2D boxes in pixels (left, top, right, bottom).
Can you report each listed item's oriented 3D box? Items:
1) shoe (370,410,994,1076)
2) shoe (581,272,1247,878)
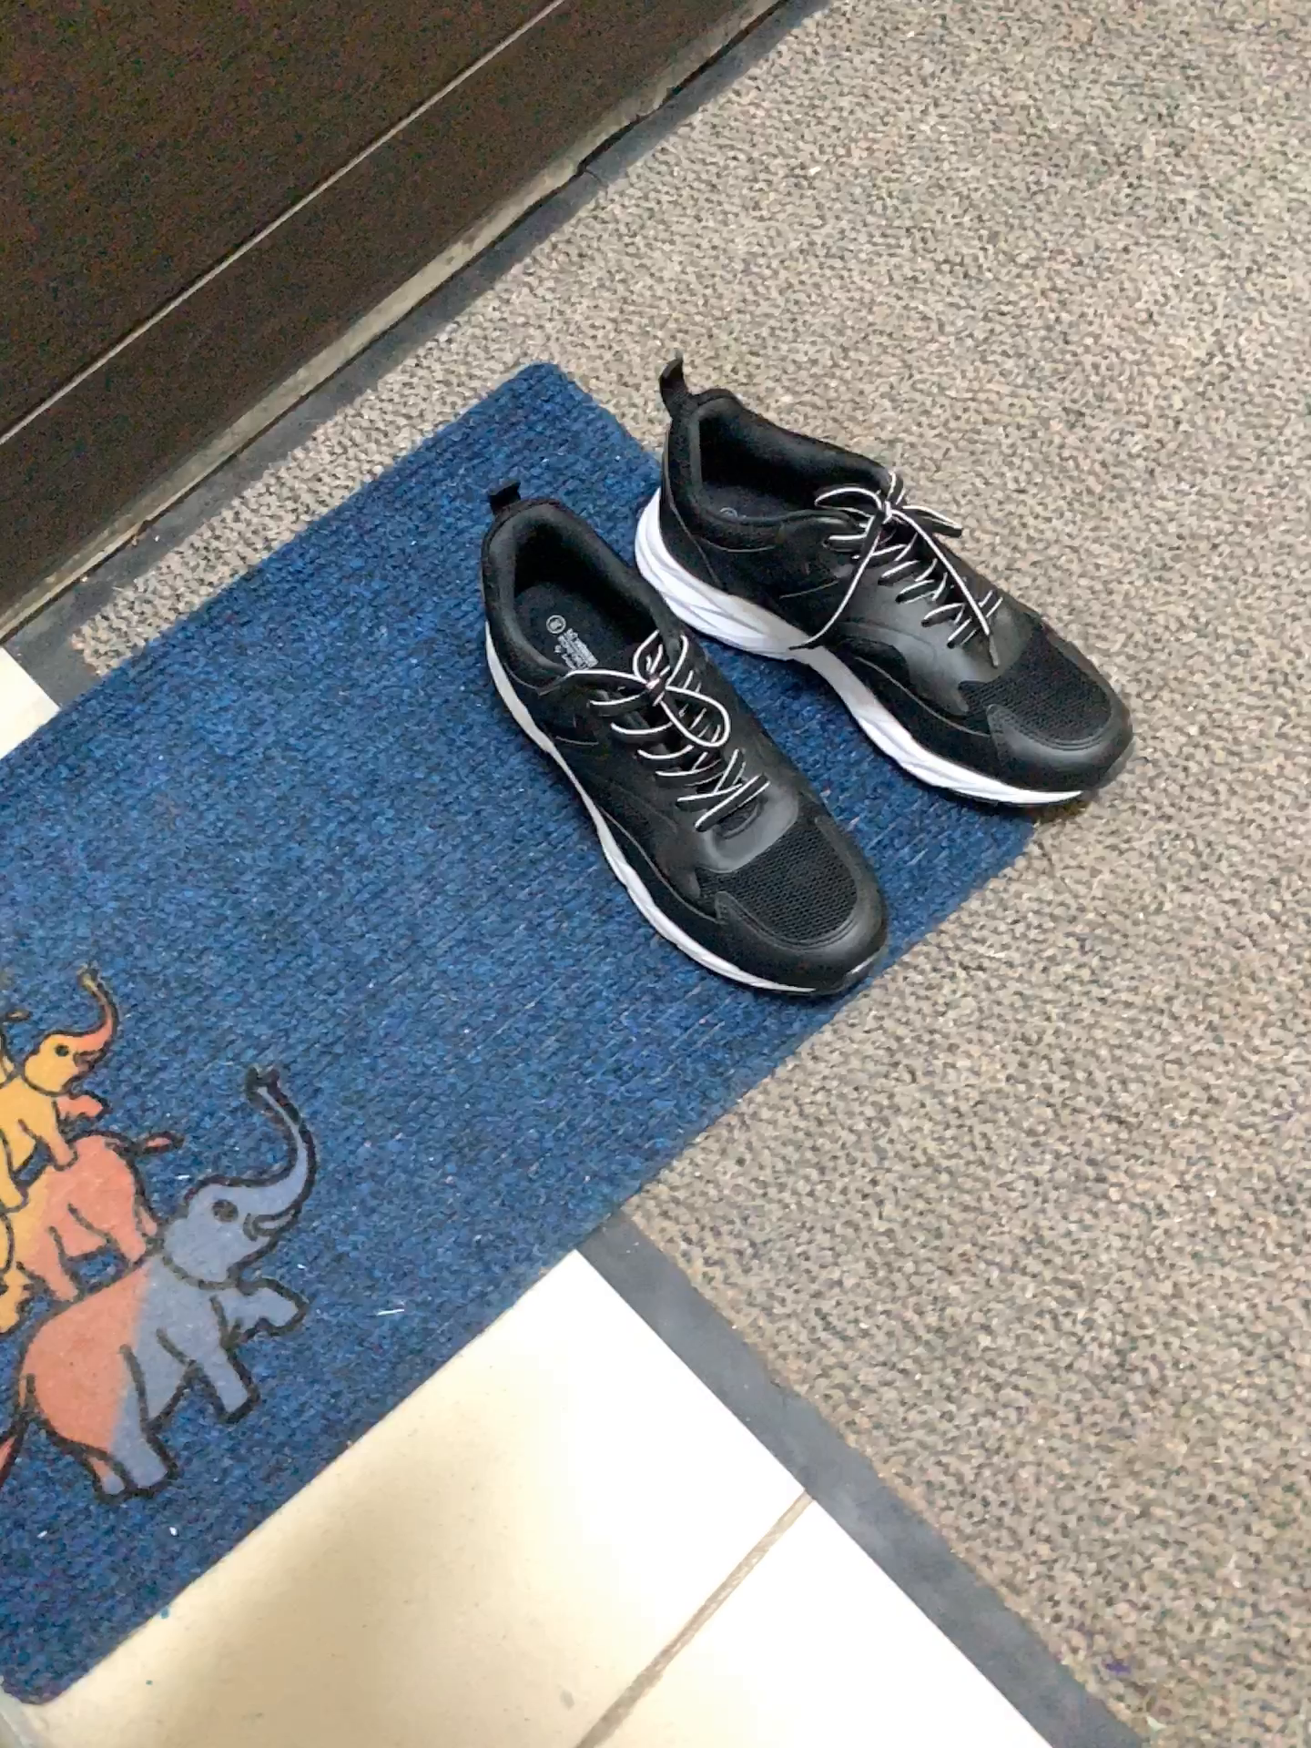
[{"bbox_3d":[0.007,-0.057,0.579,0.110,0.100,0.260,-38,72,-8],"label":"shoe"},{"bbox_3d":[0.105,-0.134,0.601,0.260,0.100,0.110,40,79,17],"label":"shoe"}]
